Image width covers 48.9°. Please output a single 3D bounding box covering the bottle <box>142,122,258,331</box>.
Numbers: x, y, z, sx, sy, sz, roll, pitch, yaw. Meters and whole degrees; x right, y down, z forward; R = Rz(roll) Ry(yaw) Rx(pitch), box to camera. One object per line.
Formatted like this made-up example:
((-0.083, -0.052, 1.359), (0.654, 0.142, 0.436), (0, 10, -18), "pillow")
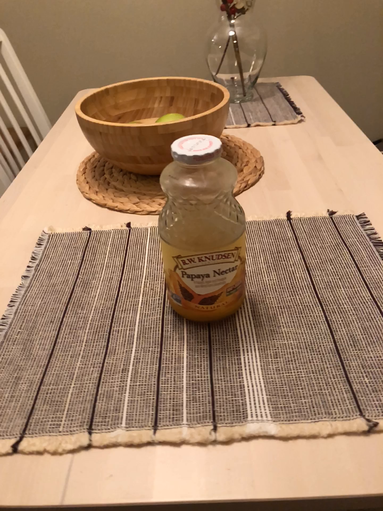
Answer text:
((0.012, -0.027, 0.461), (0.100, 0.199, 0.101), (-3, 36, 2), "bottle")
